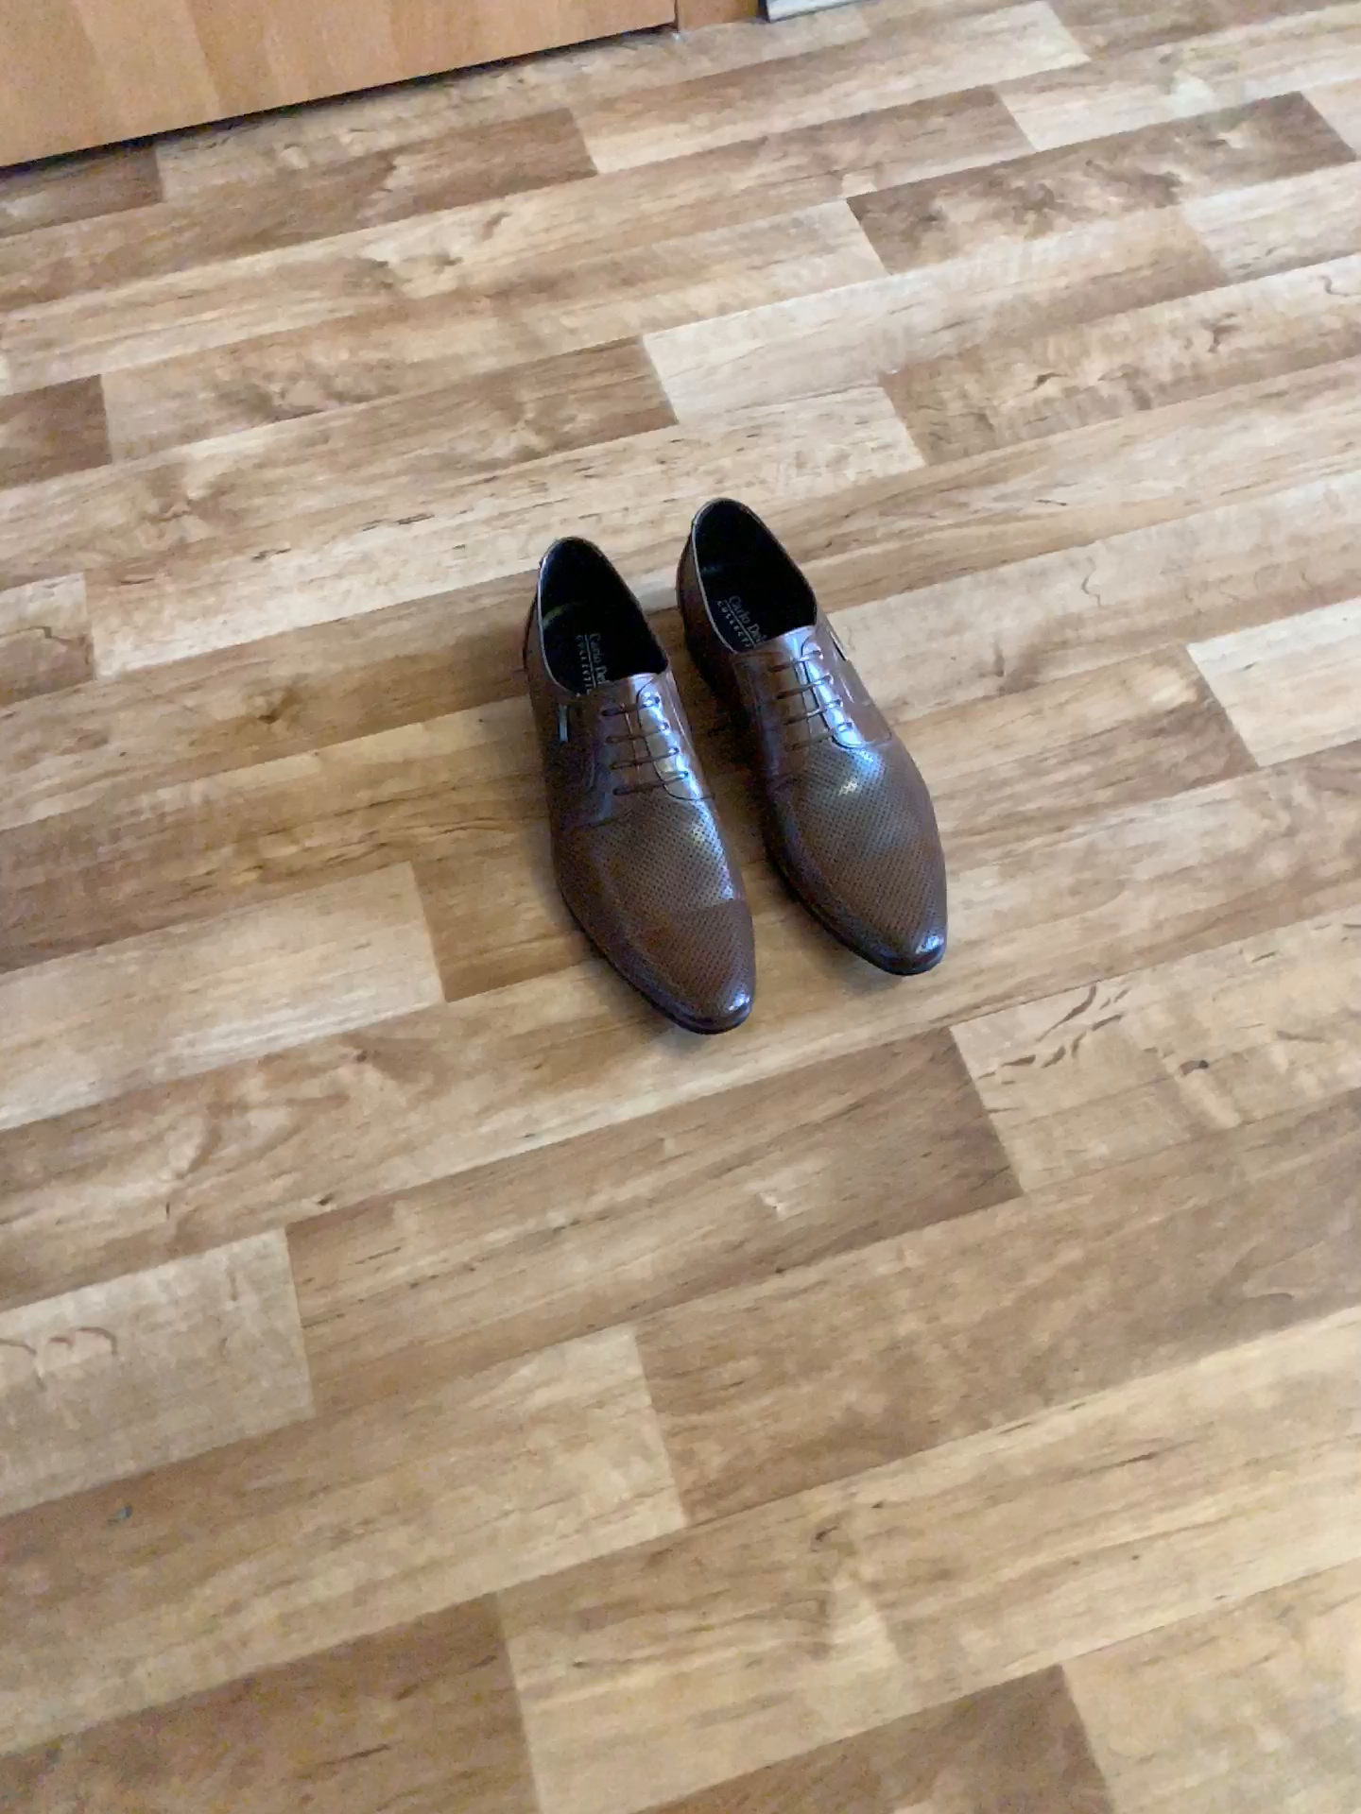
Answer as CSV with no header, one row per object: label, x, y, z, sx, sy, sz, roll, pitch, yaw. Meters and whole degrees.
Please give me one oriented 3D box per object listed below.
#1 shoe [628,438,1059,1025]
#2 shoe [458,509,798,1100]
shoe,0.077,-0.105,0.771,0.110,0.100,0.311,-19,62,-7
shoe,-0.033,-0.063,0.777,0.100,0.120,0.301,-16,61,-6
